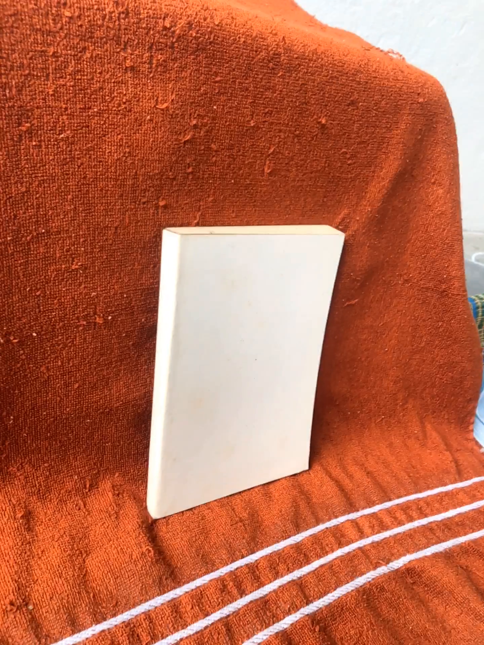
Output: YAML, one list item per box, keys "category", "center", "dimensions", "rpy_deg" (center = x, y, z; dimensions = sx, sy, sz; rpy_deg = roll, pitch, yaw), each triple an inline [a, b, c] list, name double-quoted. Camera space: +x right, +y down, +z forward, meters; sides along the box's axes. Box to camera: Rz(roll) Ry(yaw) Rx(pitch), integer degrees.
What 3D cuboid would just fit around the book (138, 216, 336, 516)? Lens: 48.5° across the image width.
- category: "book"
  center: [-0.001, 0.025, 0.402]
  dimensions: [0.151, 0.200, 0.030]
  rpy_deg: [-5, 13, -36]
